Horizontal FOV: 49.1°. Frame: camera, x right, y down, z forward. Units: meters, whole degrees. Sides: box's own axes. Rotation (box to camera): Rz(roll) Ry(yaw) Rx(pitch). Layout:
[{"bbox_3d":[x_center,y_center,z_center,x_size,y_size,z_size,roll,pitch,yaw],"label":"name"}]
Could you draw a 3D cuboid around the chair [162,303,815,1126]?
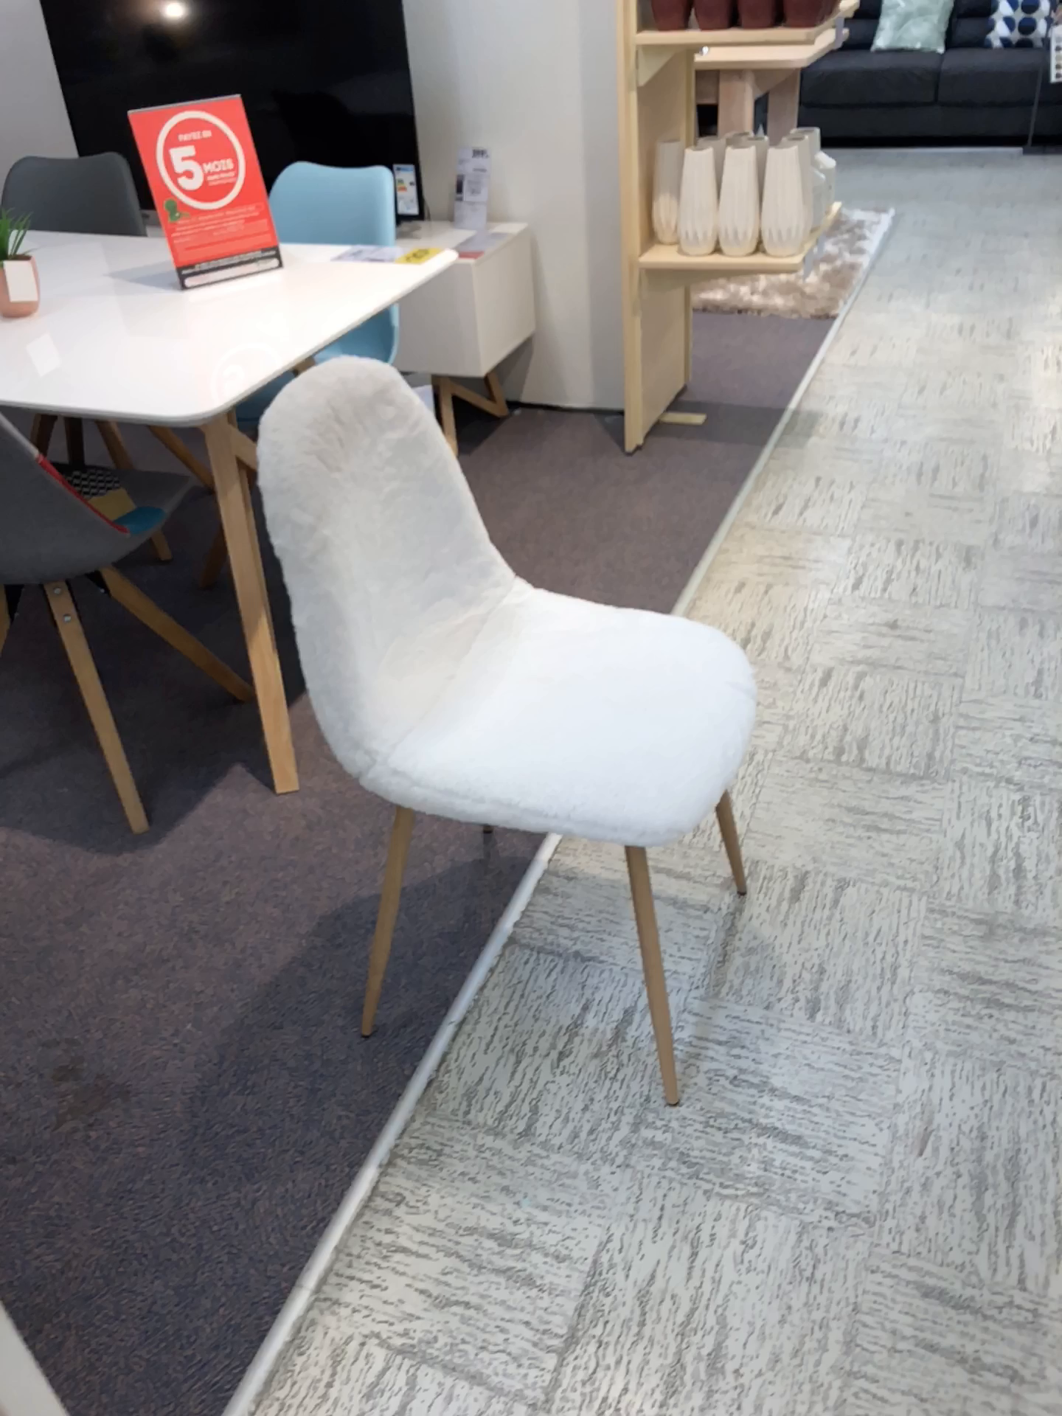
[{"bbox_3d":[0.013,-0.010,1.466,0.550,0.815,0.523,8,36,17],"label":"chair"}]
